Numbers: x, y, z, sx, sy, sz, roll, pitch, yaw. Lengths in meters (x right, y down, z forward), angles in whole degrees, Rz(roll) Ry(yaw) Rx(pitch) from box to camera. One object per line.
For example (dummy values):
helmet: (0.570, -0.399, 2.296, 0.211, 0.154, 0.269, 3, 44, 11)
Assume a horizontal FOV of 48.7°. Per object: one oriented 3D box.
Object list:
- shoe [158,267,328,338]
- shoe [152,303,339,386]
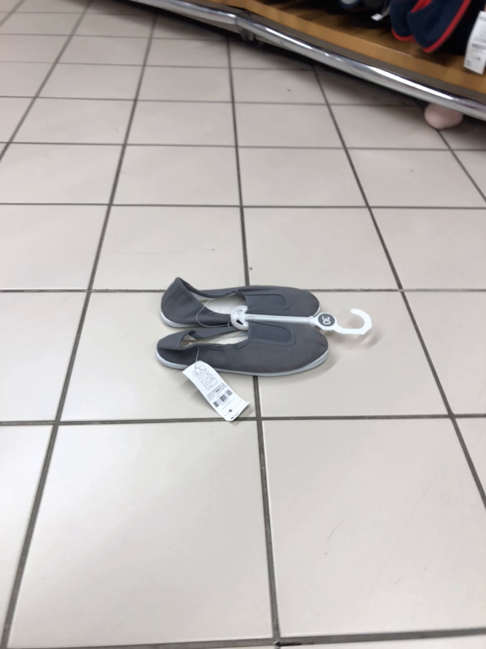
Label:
shoe: (-0.001, -0.026, 0.624, 0.185, 0.046, 0.071, 0, 44, -3)
shoe: (0.001, 0.021, 0.575, 0.185, 0.046, 0.078, 0, 44, -3)
